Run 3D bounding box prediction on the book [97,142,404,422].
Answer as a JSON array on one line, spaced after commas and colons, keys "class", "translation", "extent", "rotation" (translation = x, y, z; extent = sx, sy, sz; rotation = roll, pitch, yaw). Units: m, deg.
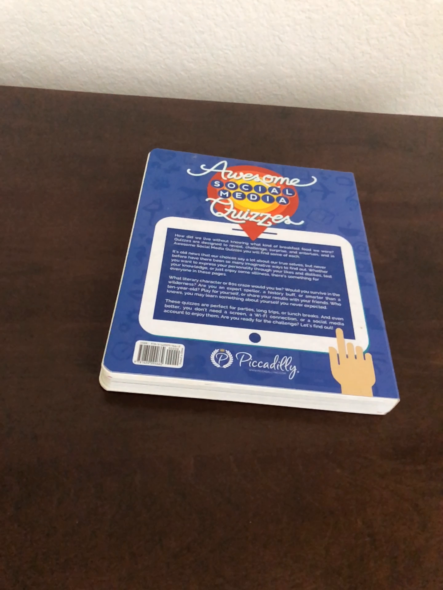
[{"class": "book", "translation": [0.020, -0.022, 0.337], "extent": [0.166, 0.030, 0.202], "rotation": [6, 52, -4]}]
